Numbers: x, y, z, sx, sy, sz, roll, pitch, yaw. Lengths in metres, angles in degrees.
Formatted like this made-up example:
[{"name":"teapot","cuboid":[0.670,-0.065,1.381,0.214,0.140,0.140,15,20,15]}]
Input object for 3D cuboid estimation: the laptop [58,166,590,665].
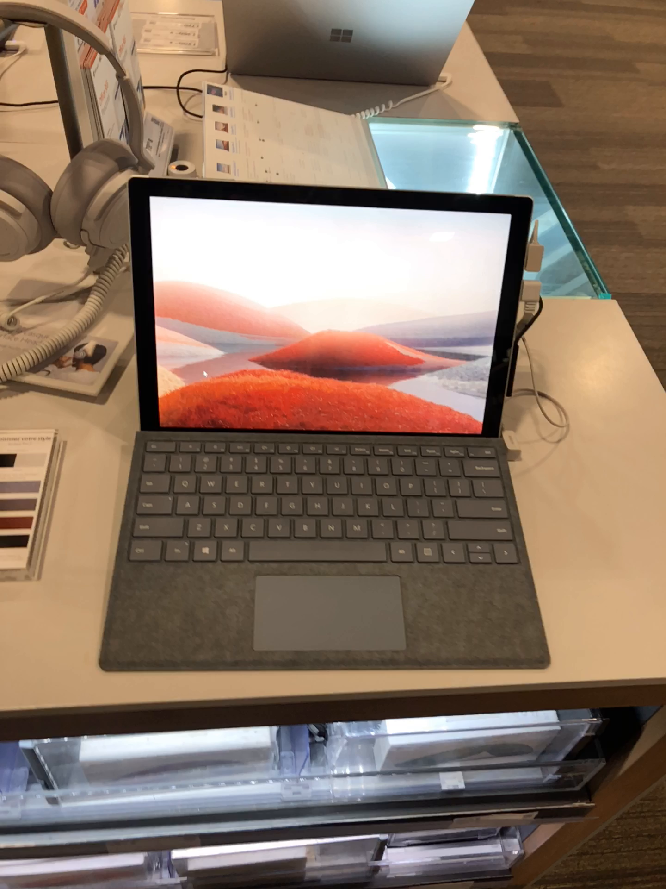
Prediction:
[{"name":"laptop","cuboid":[-0.006,-0.031,0.494,0.261,0.143,0.285,0,54,-1]}]
